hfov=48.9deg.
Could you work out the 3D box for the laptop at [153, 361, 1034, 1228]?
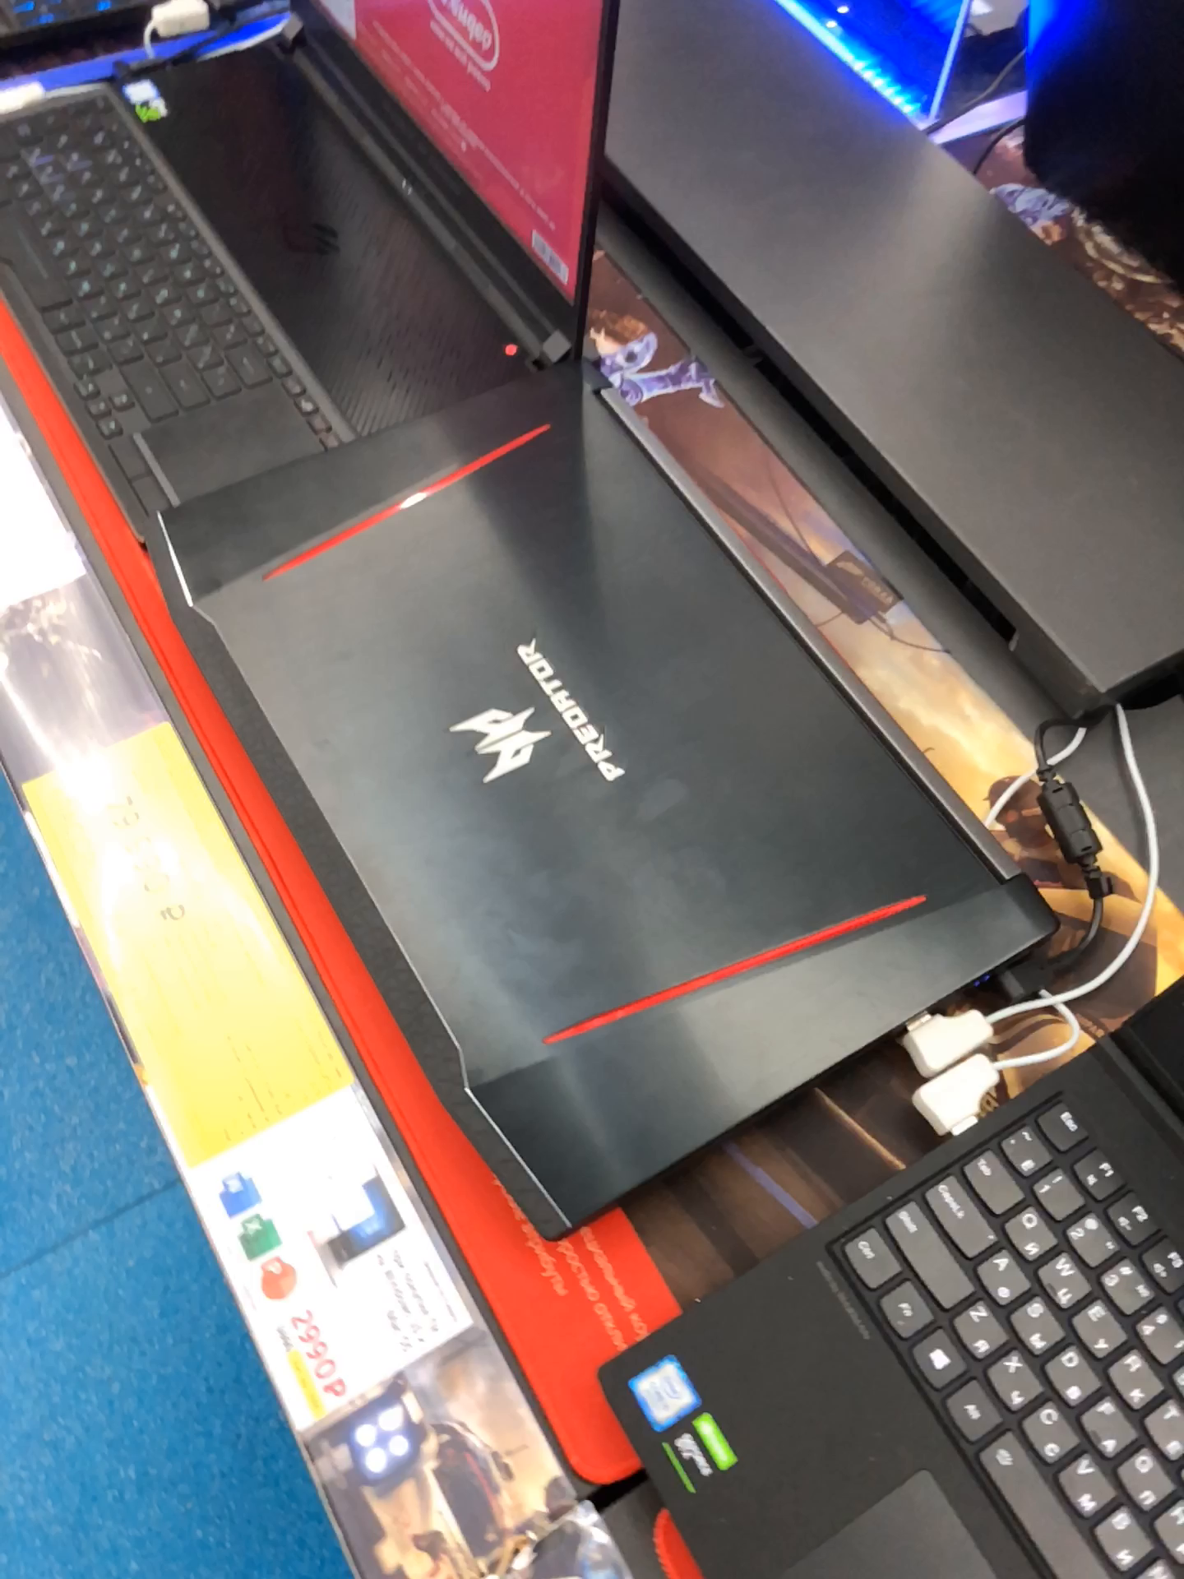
[{"bbox_3d":[-0.013,-0.034,0.577,0.228,0.004,0.378,-26,65,-18],"label":"laptop"}]
